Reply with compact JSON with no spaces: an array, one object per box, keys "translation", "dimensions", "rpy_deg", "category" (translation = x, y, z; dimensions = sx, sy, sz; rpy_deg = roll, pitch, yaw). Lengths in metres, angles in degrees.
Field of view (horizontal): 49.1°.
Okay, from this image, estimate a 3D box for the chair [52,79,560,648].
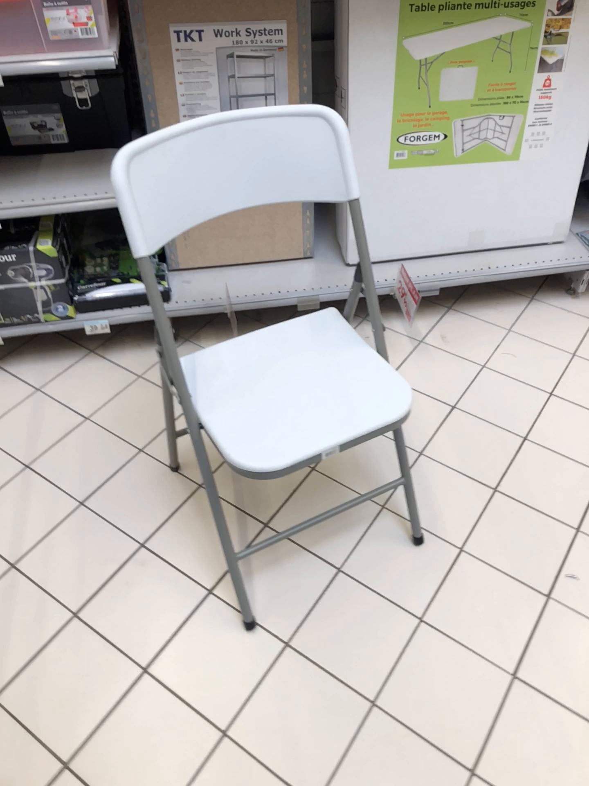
[{"translation":[-0.015,-0.060,1.200],"dimensions":[0.541,0.746,0.562],"rpy_deg":[-20,47,-19],"category":"chair"}]
